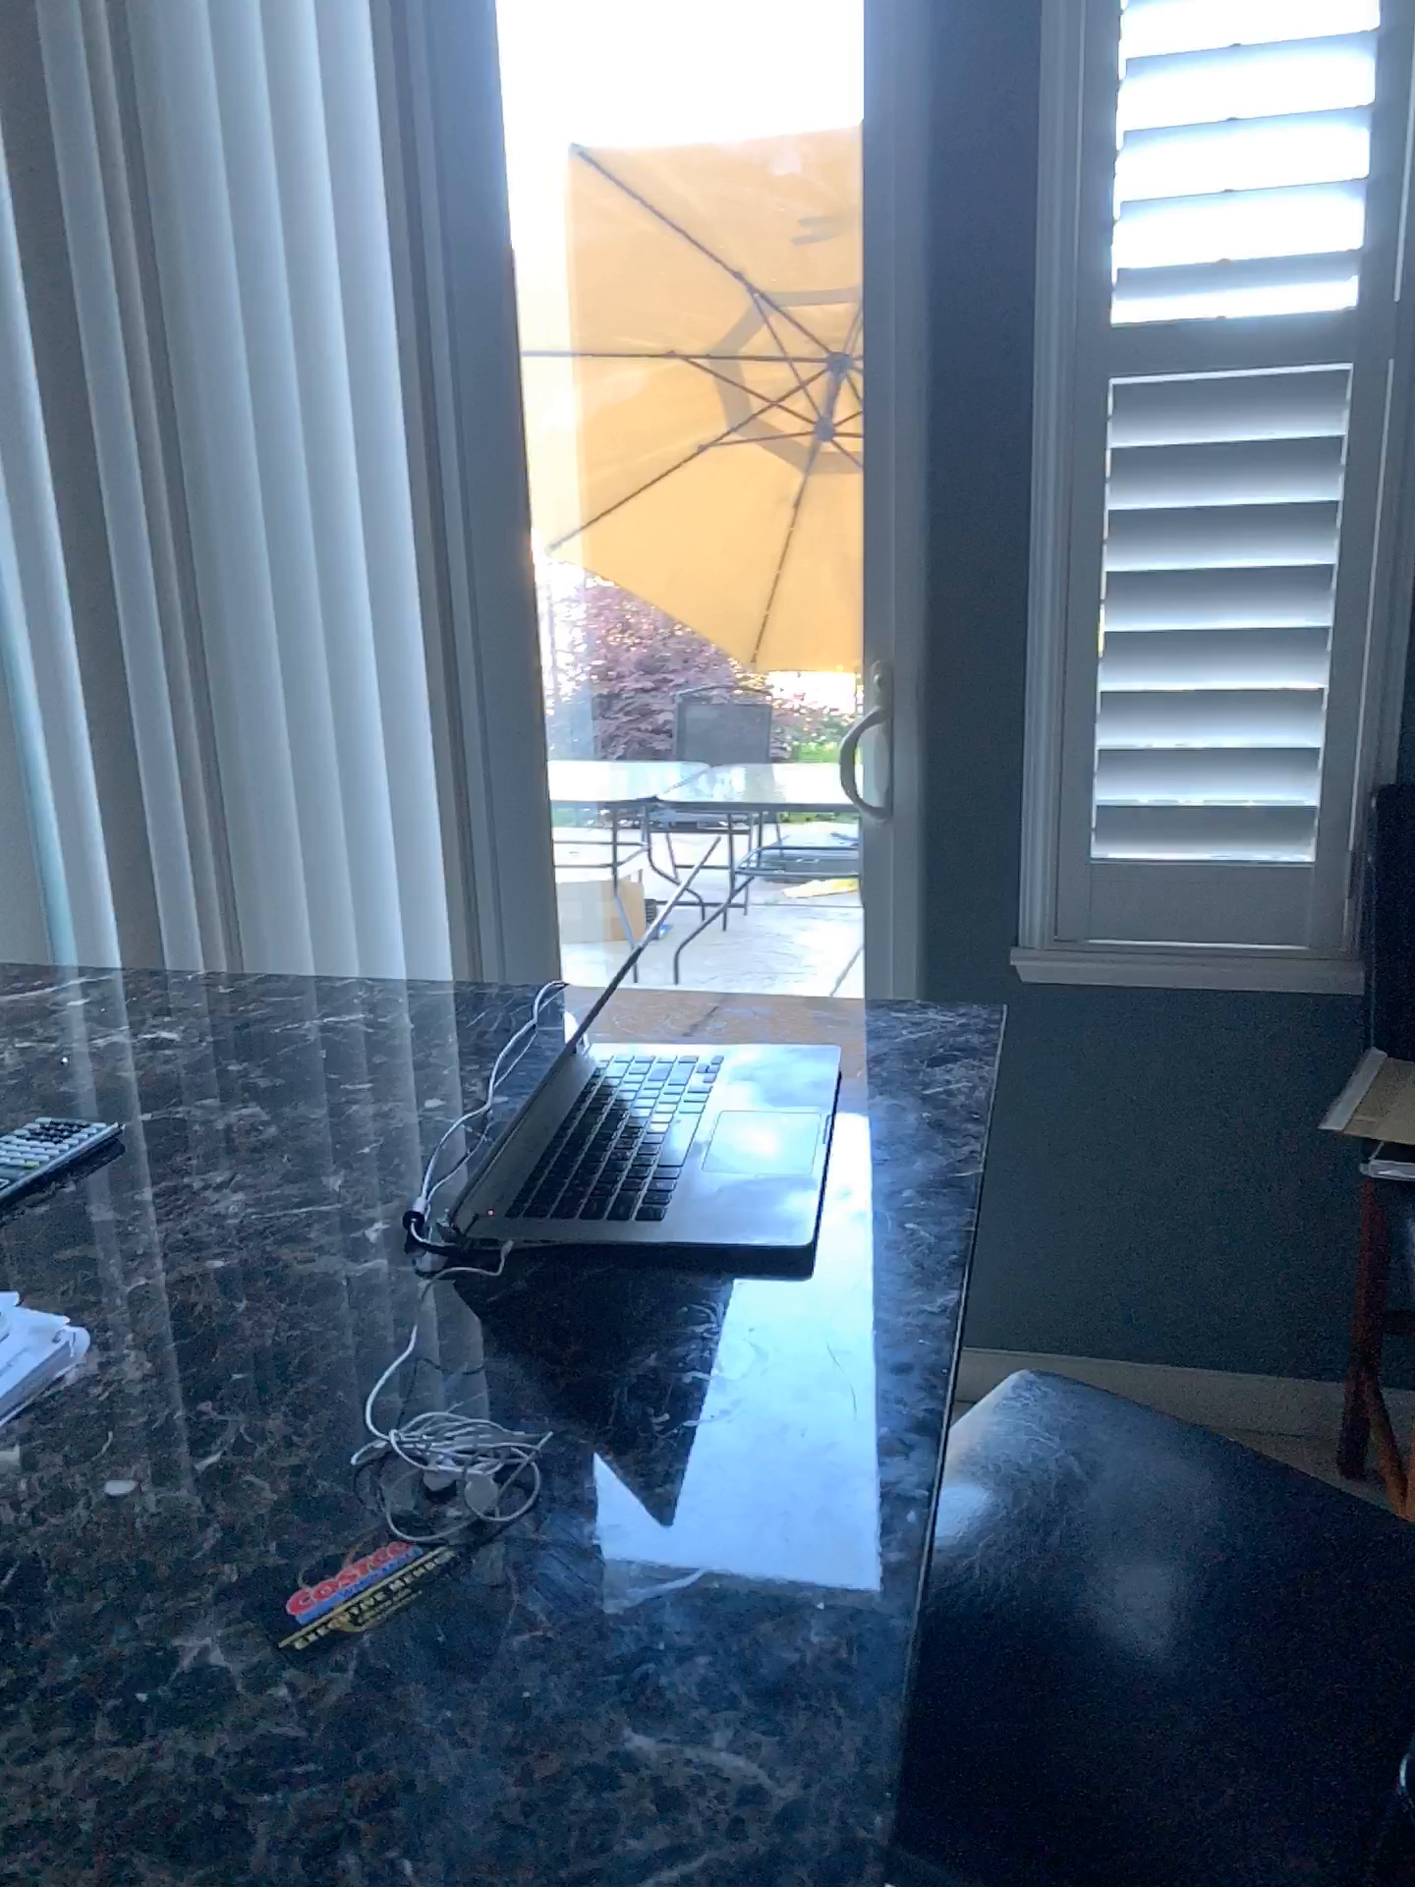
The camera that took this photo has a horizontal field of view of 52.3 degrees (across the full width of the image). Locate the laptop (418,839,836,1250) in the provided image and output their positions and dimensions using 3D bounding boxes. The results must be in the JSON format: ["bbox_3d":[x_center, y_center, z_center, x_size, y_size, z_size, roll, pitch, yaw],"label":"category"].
[{"bbox_3d":[-0.034,0.051,1.076,0.233,0.188,0.363,1,16,9],"label":"laptop"}]
